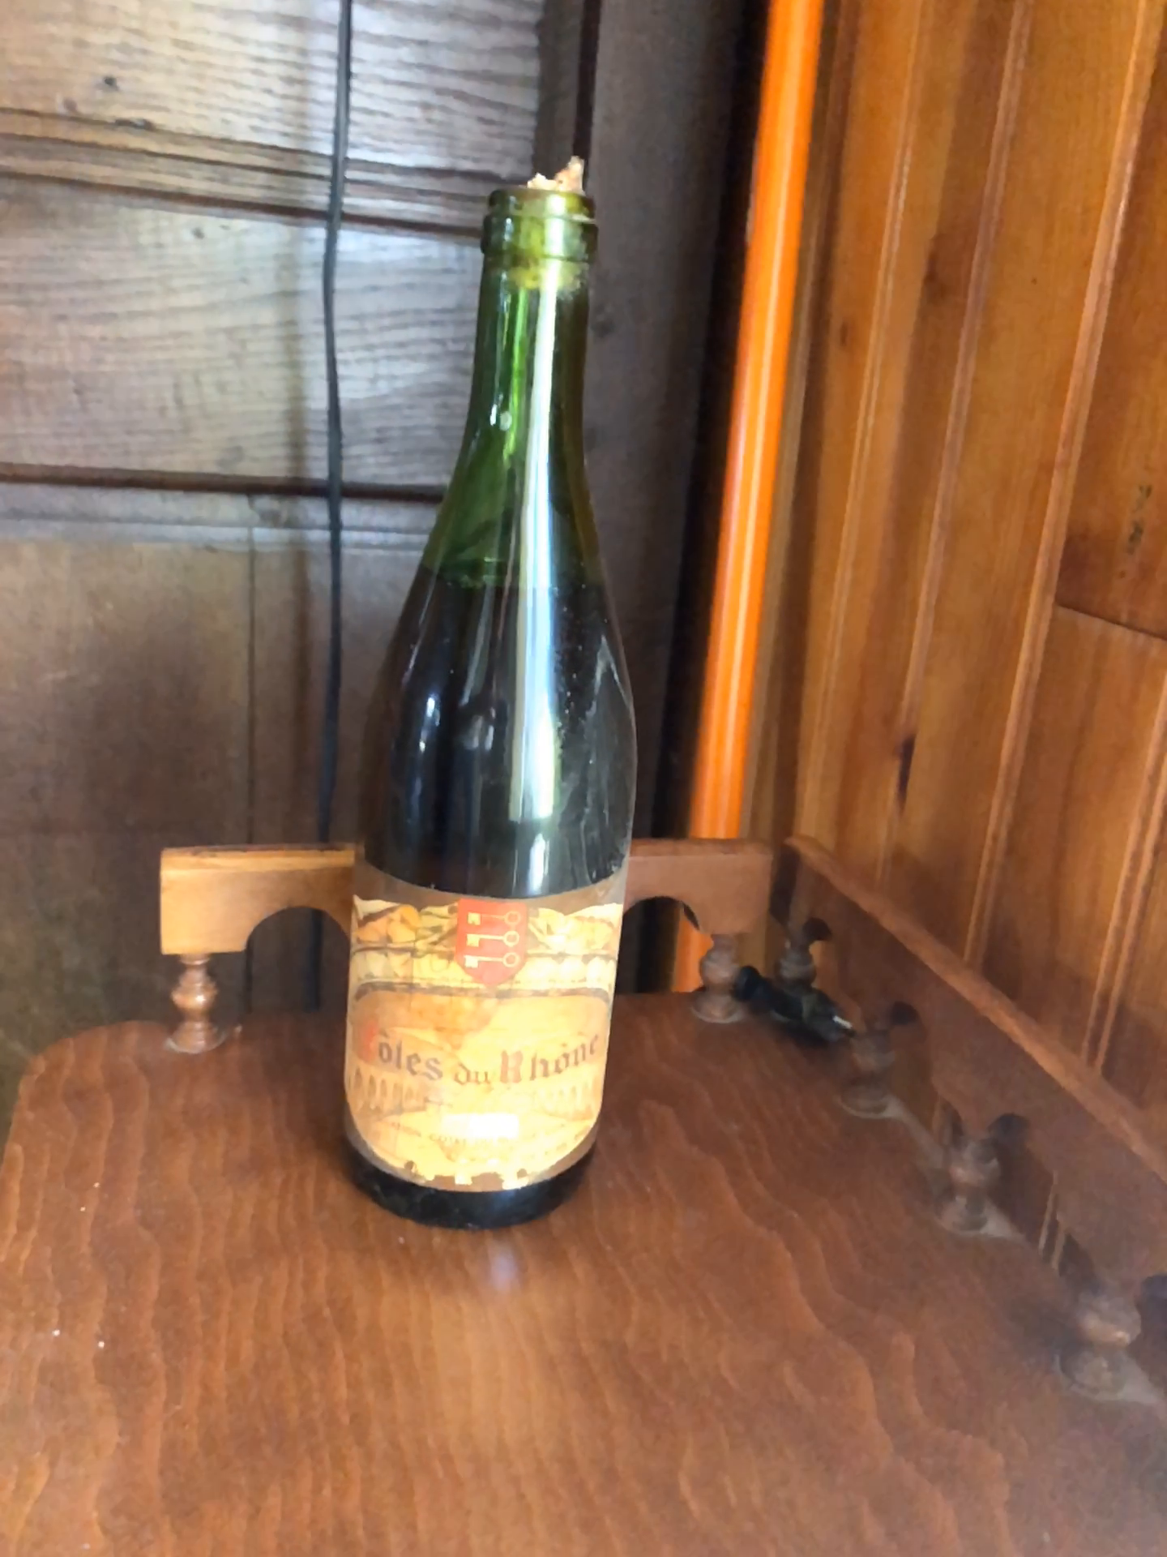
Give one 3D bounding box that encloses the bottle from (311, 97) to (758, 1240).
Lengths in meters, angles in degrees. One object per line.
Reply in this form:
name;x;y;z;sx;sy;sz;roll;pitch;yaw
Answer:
bottle;-0.023;-0.021;0.357;0.090;0.279;0.090;4;18;-1
